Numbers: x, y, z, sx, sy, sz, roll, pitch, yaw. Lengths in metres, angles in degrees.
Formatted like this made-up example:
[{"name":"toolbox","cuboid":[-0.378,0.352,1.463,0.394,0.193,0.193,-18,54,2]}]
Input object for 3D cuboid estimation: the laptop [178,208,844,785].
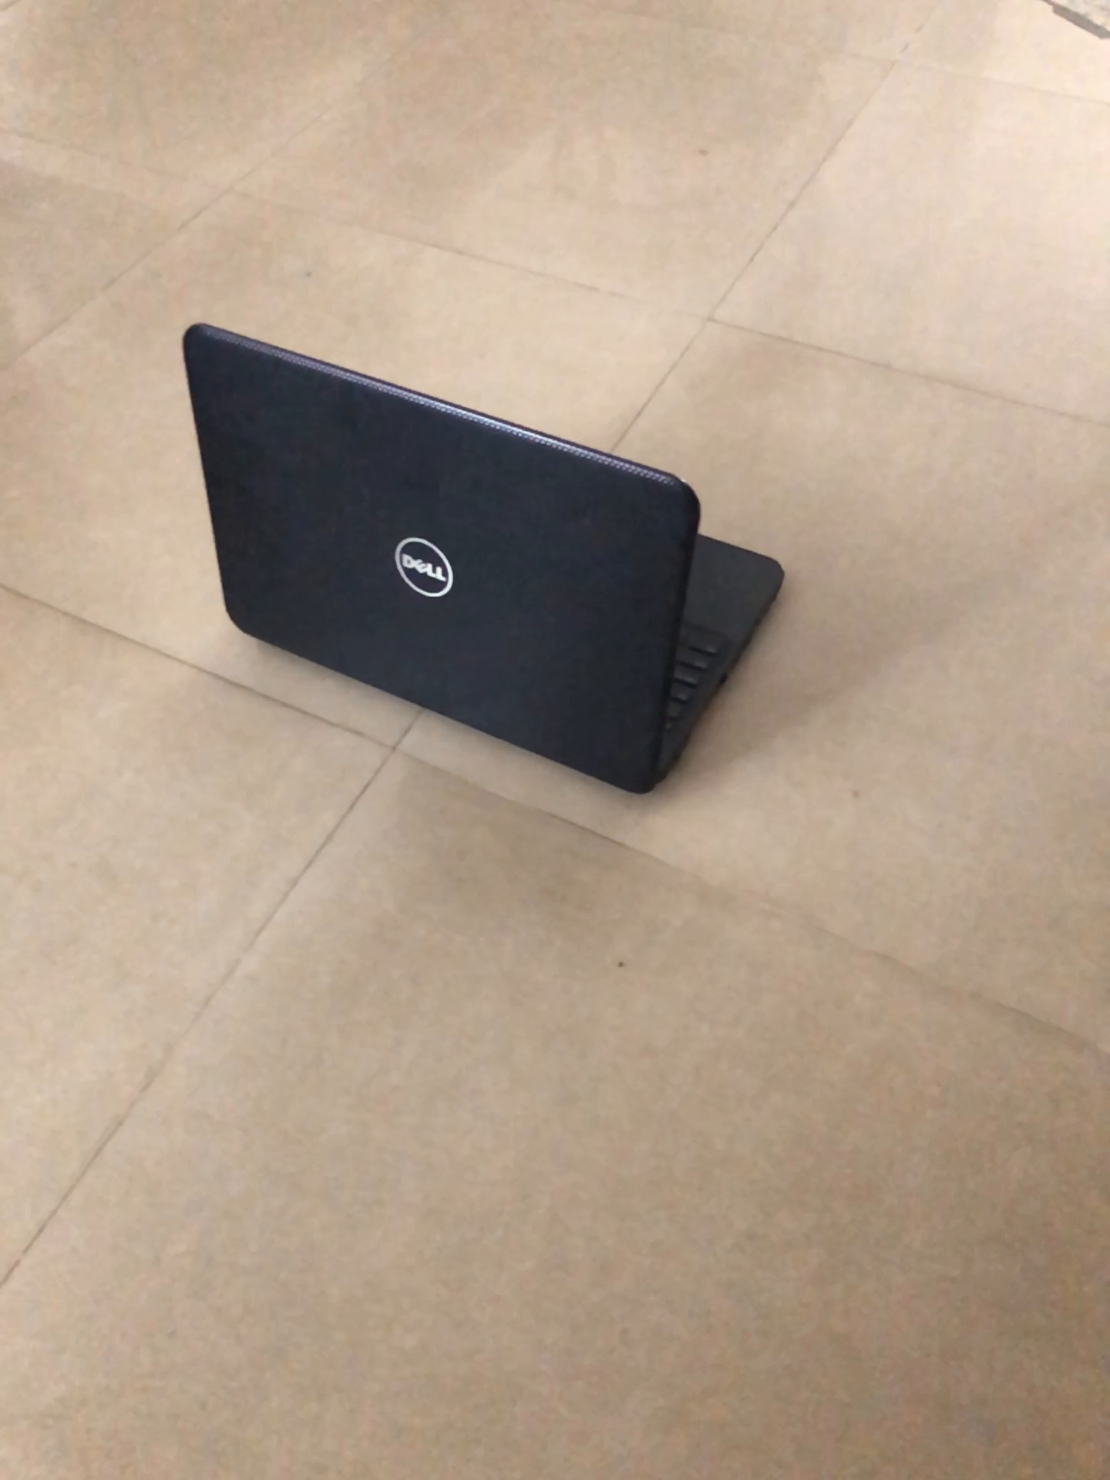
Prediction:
[{"name":"laptop","cuboid":[-0.020,-0.183,0.875,0.352,0.227,0.248,22,55,18]}]
